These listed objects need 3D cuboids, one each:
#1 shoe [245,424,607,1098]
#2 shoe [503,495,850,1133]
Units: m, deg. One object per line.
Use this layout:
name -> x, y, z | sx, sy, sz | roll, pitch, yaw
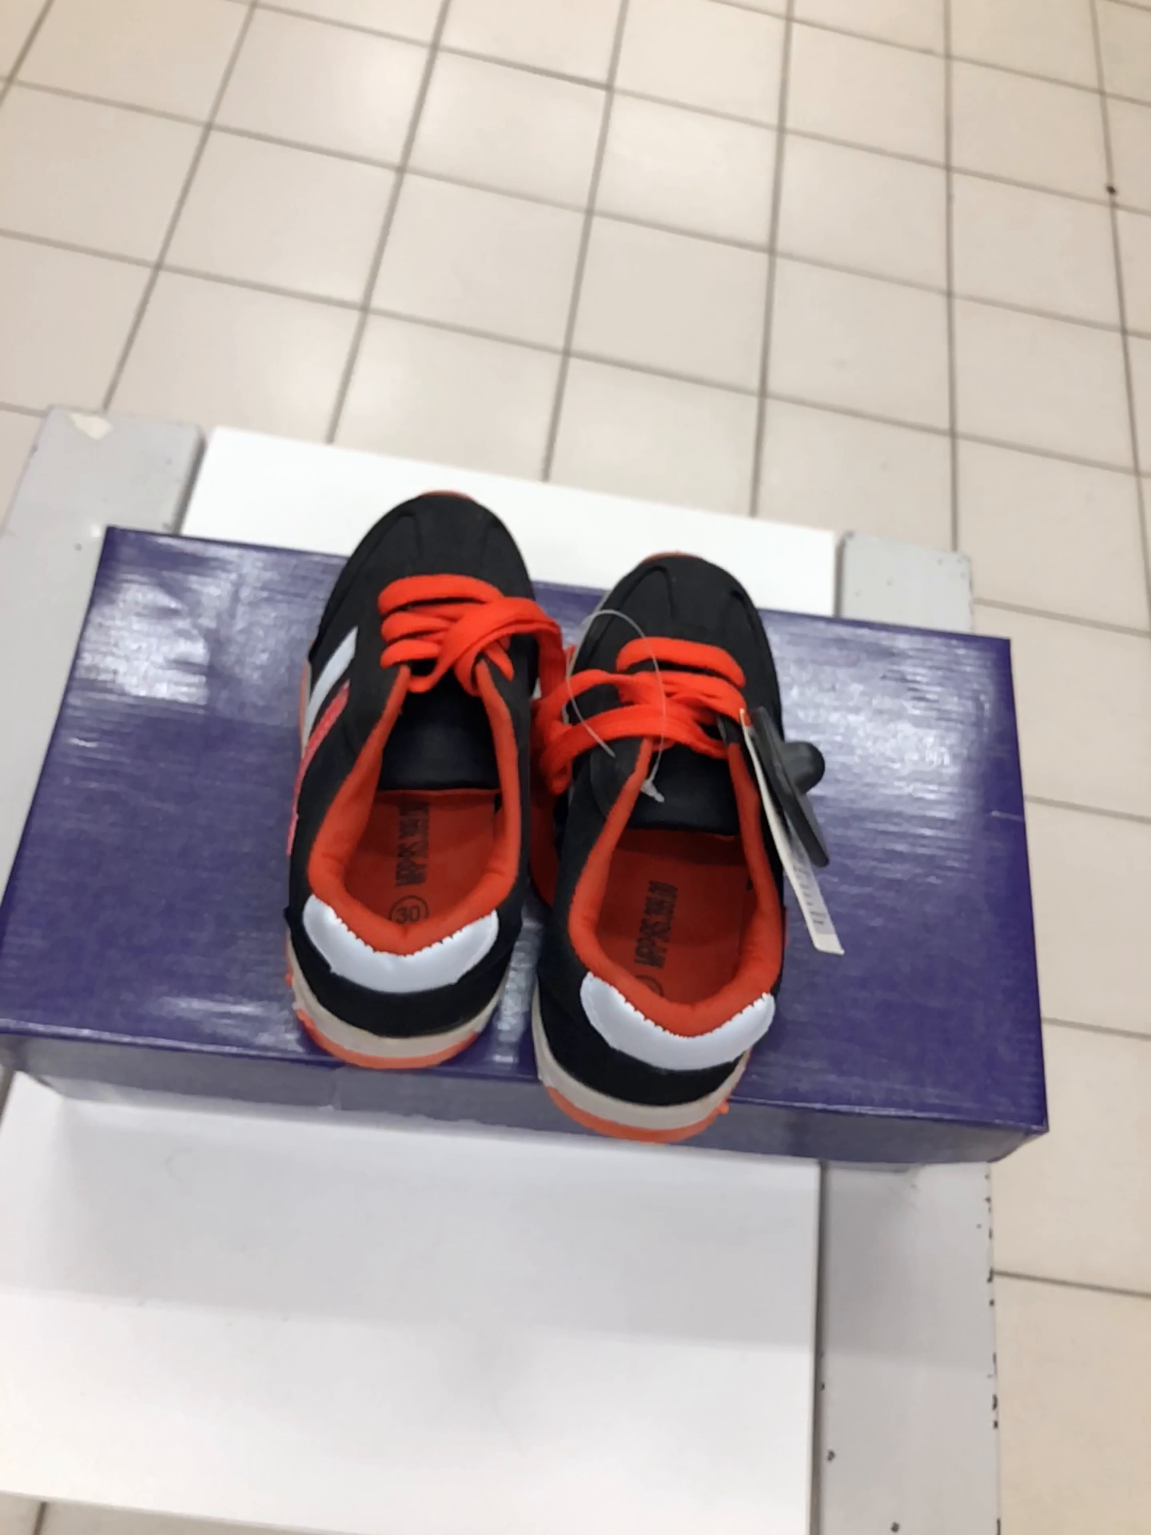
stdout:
shoe -> -0.044, 0.000, 0.409 | 0.080, 0.100, 0.181 | 8, 64, -7
shoe -> 0.030, 0.018, 0.412 | 0.080, 0.100, 0.171 | 8, 64, -7
